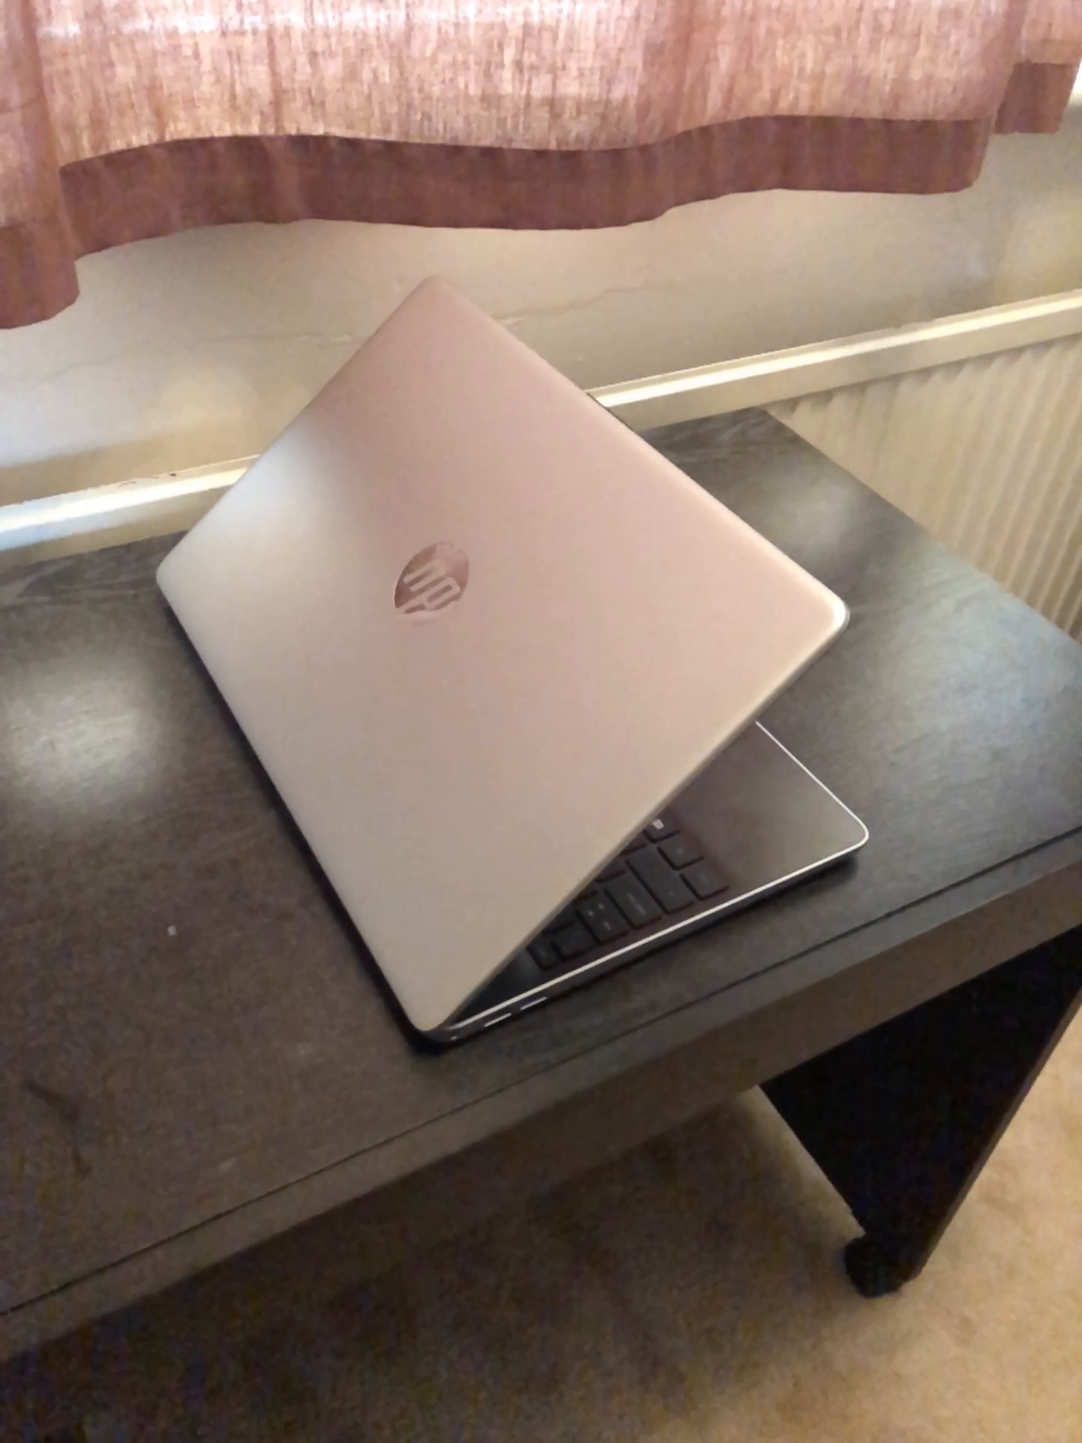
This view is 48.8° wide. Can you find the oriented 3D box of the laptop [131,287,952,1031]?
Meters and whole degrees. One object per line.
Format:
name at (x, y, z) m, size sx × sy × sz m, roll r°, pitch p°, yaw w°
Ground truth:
laptop at (-0.023, -0.071, 0.599) m, size 0.237 × 0.141 × 0.362 m, roll -18°, pitch 45°, yaw -27°
